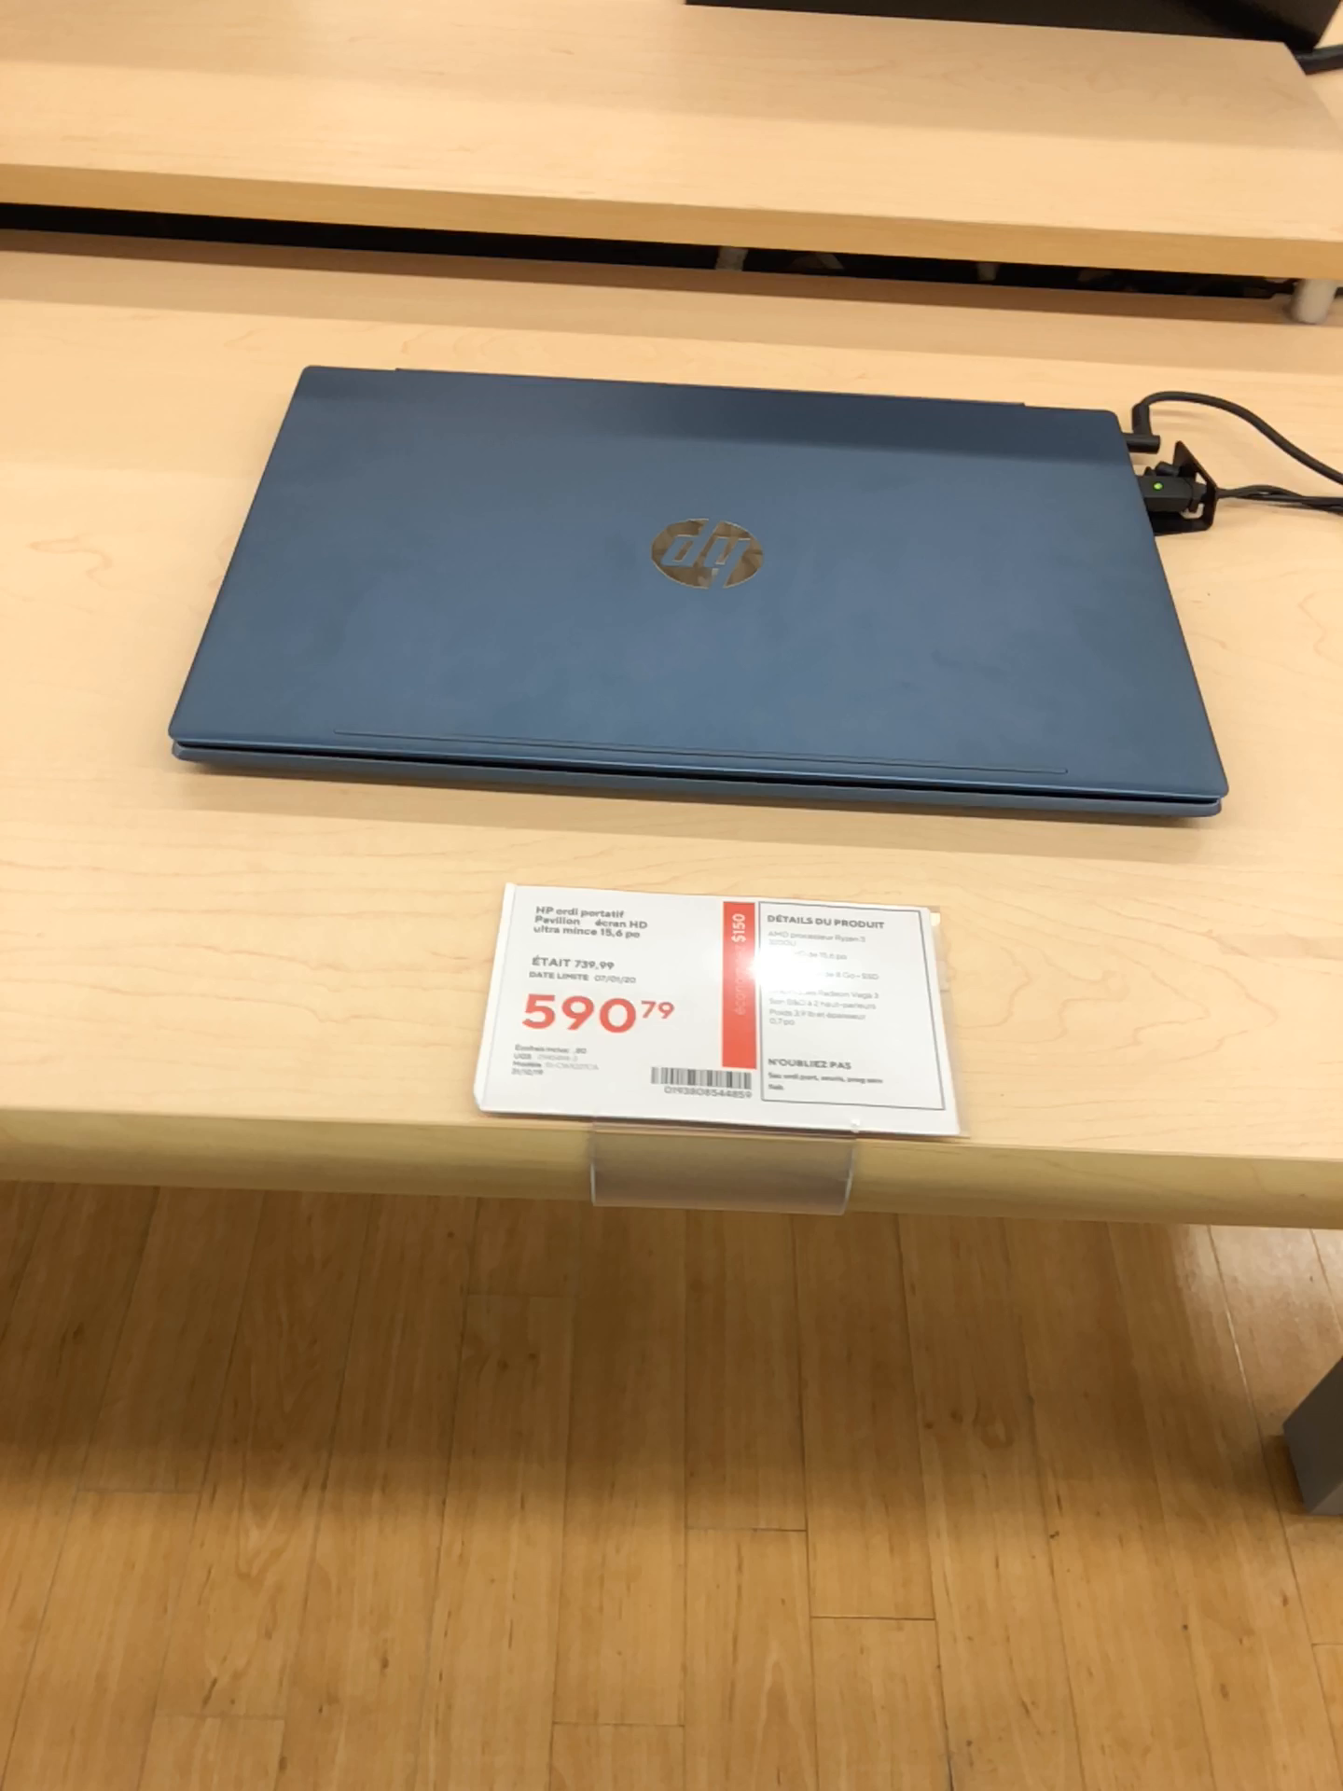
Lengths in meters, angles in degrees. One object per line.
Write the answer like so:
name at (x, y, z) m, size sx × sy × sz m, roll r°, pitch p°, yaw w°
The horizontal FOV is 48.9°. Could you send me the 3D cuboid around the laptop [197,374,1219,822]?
laptop at (0.013, -0.127, 0.581) m, size 0.352 × 0.012 × 0.221 m, roll 3°, pitch 52°, yaw 1°
